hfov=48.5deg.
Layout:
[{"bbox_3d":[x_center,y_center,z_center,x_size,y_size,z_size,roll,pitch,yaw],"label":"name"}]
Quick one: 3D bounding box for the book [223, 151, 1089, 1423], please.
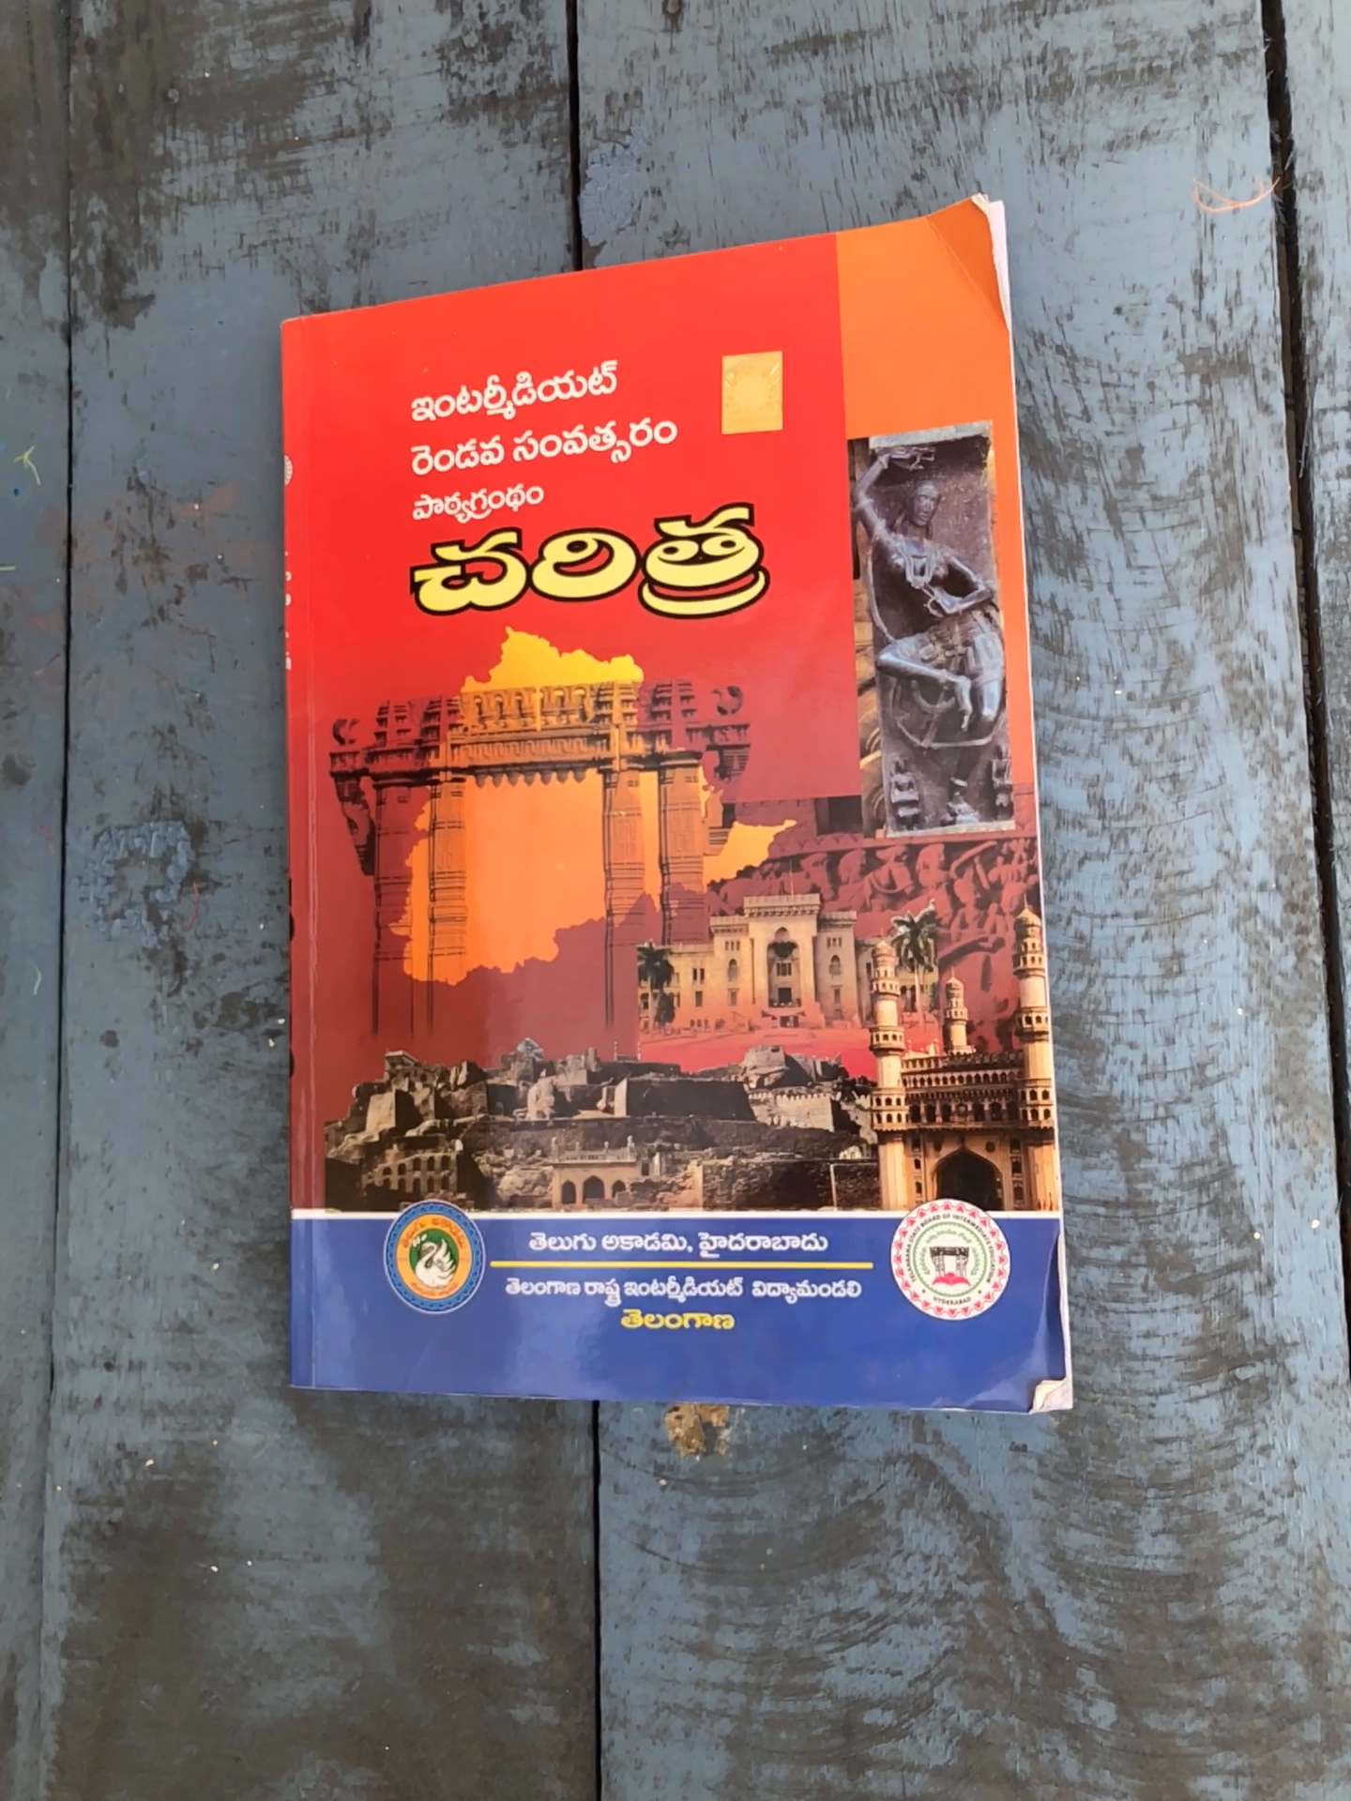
[{"bbox_3d":[-0.008,-0.024,0.354,0.190,0.040,0.270,-3,83,13],"label":"book"}]
